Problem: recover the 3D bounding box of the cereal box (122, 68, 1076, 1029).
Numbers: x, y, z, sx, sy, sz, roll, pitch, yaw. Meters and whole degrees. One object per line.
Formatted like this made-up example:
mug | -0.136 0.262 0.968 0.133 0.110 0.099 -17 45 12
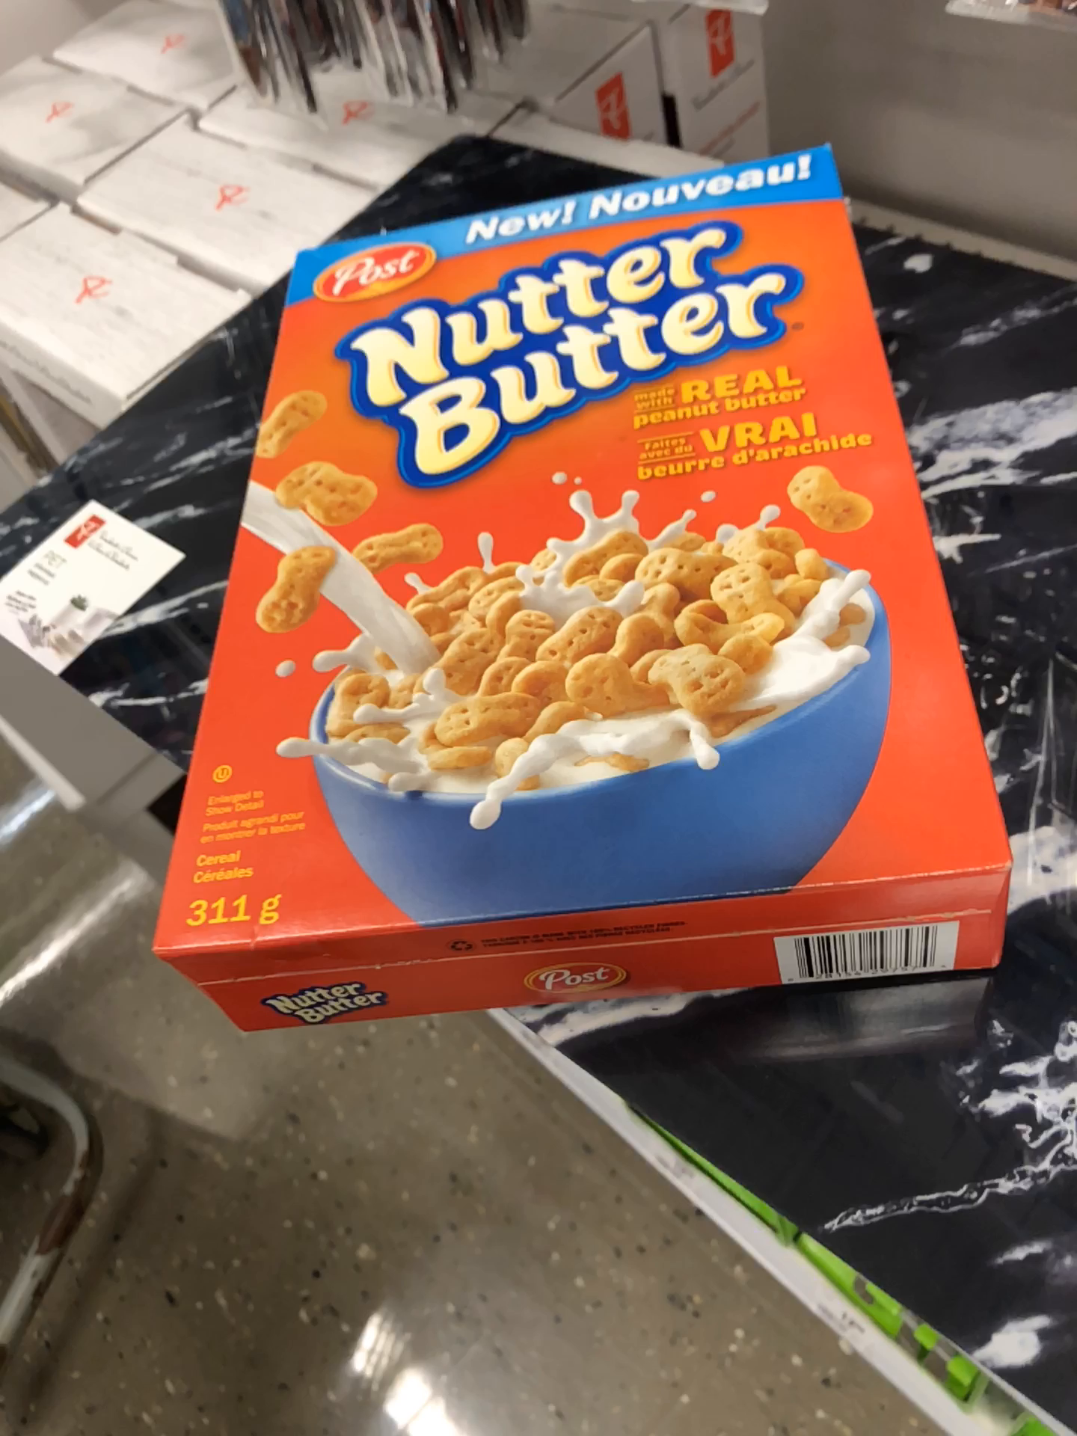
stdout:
cereal box | 0.011 -0.069 0.364 0.210 0.050 0.300 -8 55 11
